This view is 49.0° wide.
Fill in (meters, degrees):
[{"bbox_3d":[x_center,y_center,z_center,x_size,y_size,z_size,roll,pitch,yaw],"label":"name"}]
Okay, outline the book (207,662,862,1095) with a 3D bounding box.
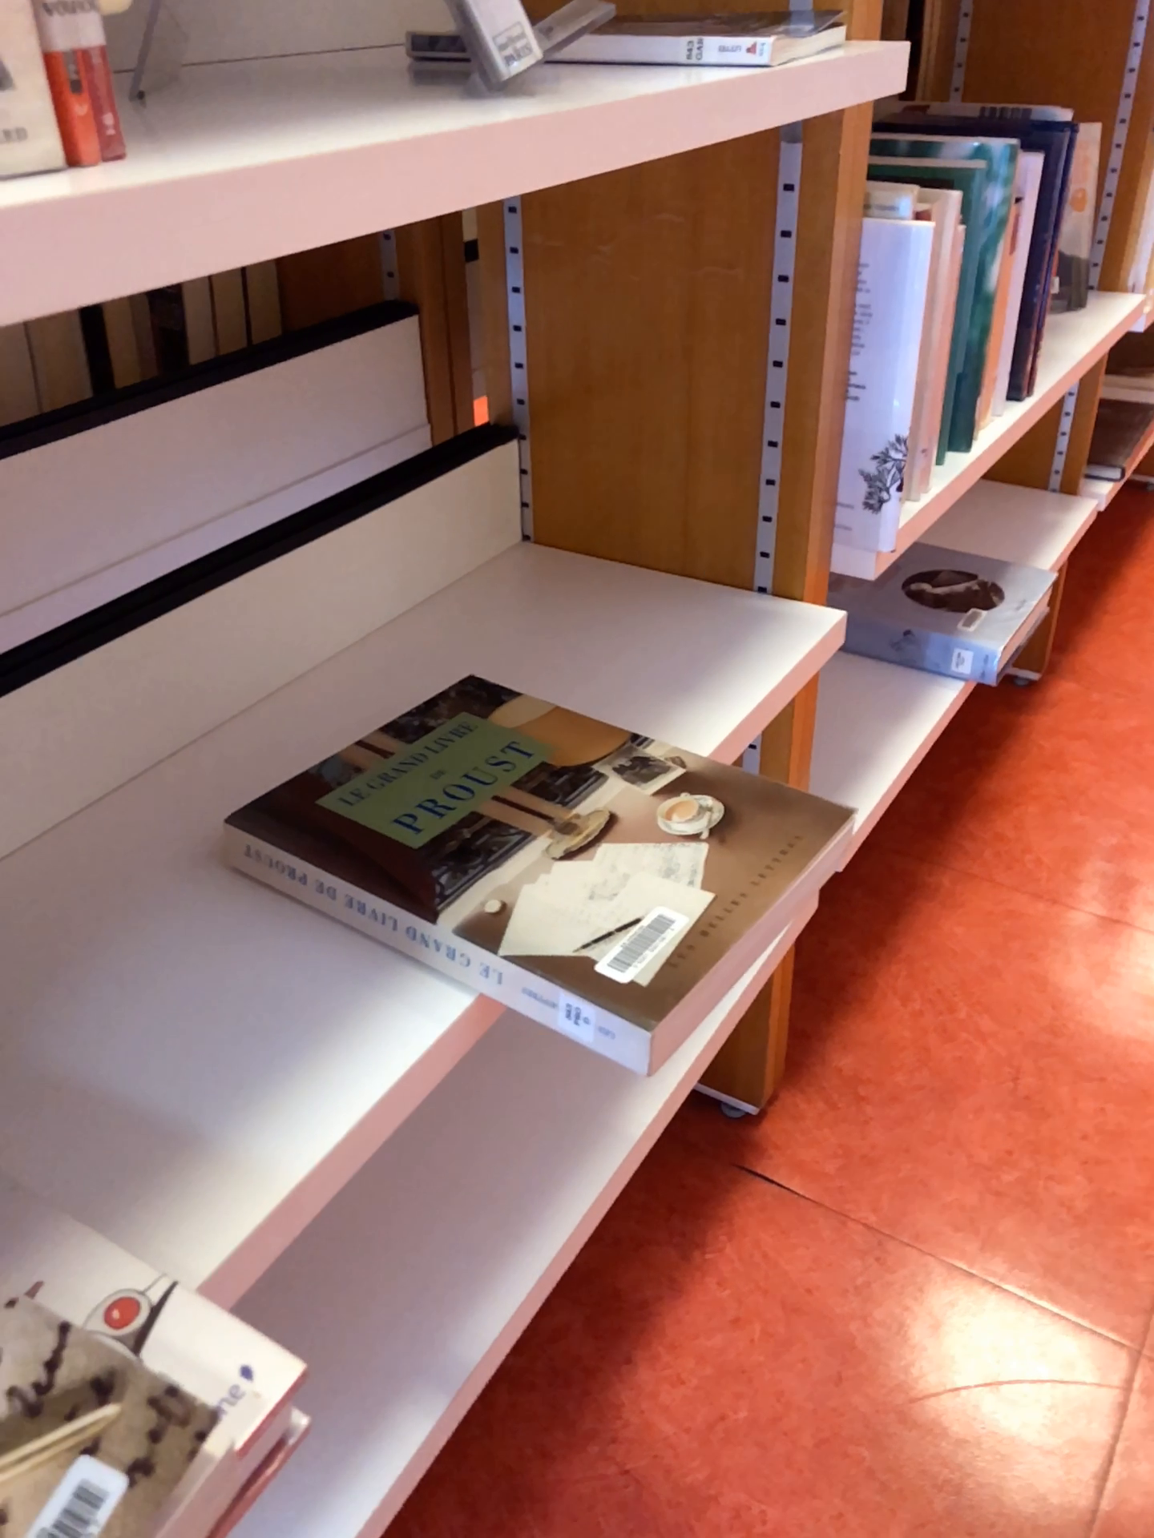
[{"bbox_3d":[-0.019,0.032,0.595,0.245,0.030,0.181,22,39,29],"label":"book"}]
